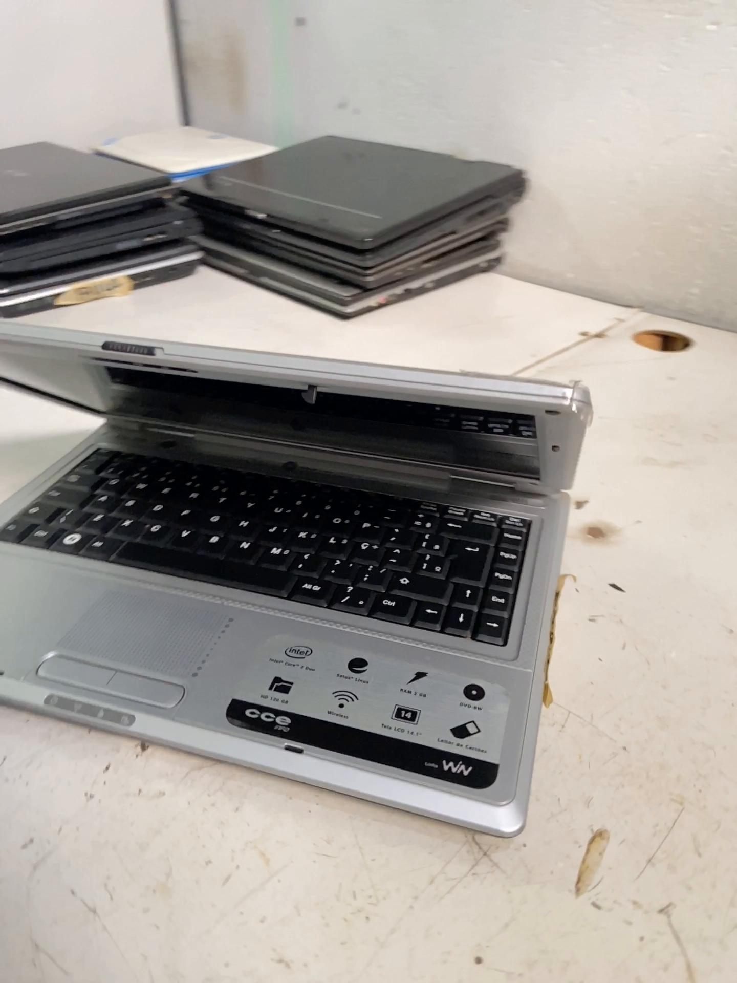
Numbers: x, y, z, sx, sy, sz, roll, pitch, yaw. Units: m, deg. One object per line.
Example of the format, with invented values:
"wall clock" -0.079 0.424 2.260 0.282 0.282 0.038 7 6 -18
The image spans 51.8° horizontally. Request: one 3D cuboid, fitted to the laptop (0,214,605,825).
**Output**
"laptop" -0.069 -0.026 0.389 0.335 0.153 0.244 9 34 15
